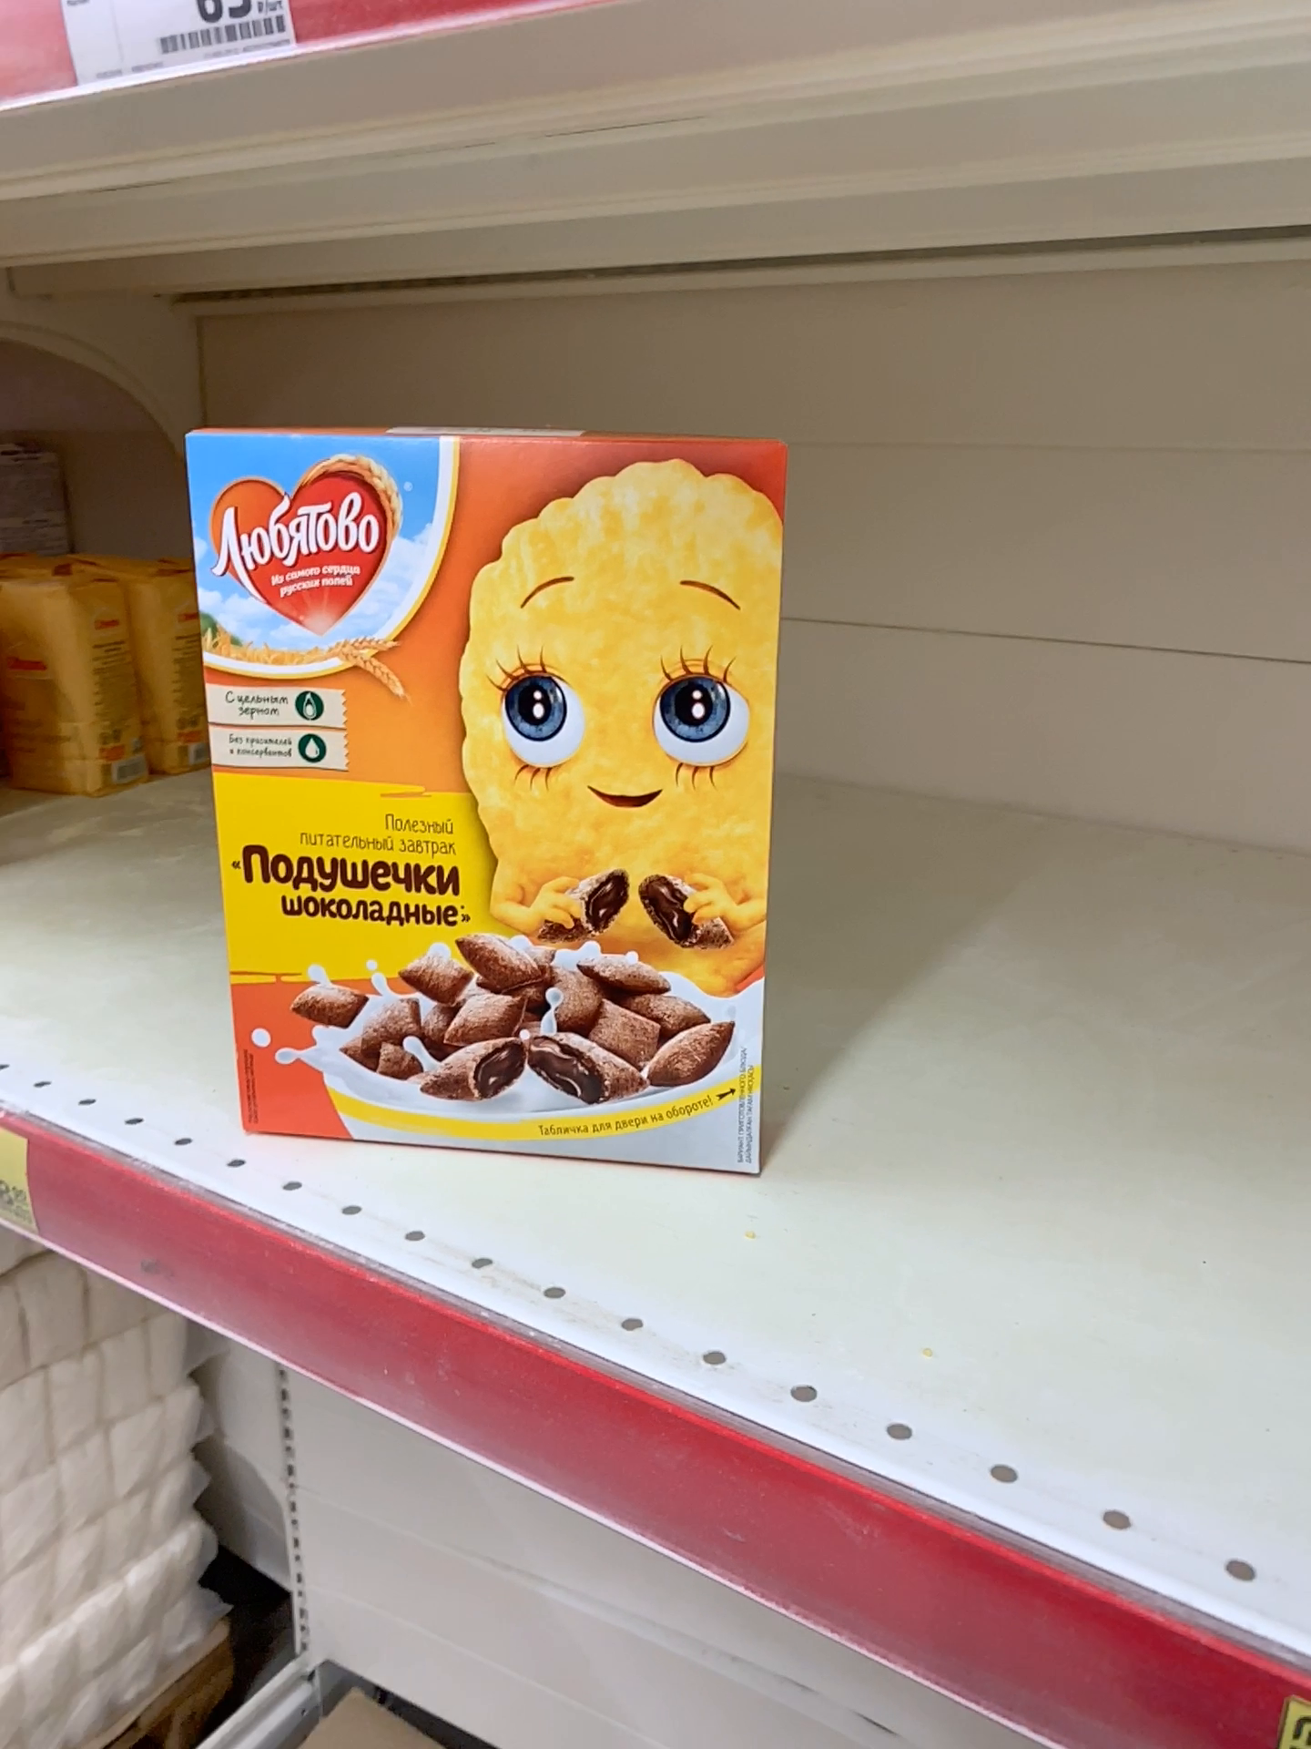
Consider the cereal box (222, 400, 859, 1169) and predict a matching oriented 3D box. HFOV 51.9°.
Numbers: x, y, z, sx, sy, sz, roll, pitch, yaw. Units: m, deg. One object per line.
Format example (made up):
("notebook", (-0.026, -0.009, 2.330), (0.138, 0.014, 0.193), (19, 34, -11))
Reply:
("cereal box", (-0.032, -0.029, 0.430), (0.180, 0.229, 0.050), (3, 17, 7))
